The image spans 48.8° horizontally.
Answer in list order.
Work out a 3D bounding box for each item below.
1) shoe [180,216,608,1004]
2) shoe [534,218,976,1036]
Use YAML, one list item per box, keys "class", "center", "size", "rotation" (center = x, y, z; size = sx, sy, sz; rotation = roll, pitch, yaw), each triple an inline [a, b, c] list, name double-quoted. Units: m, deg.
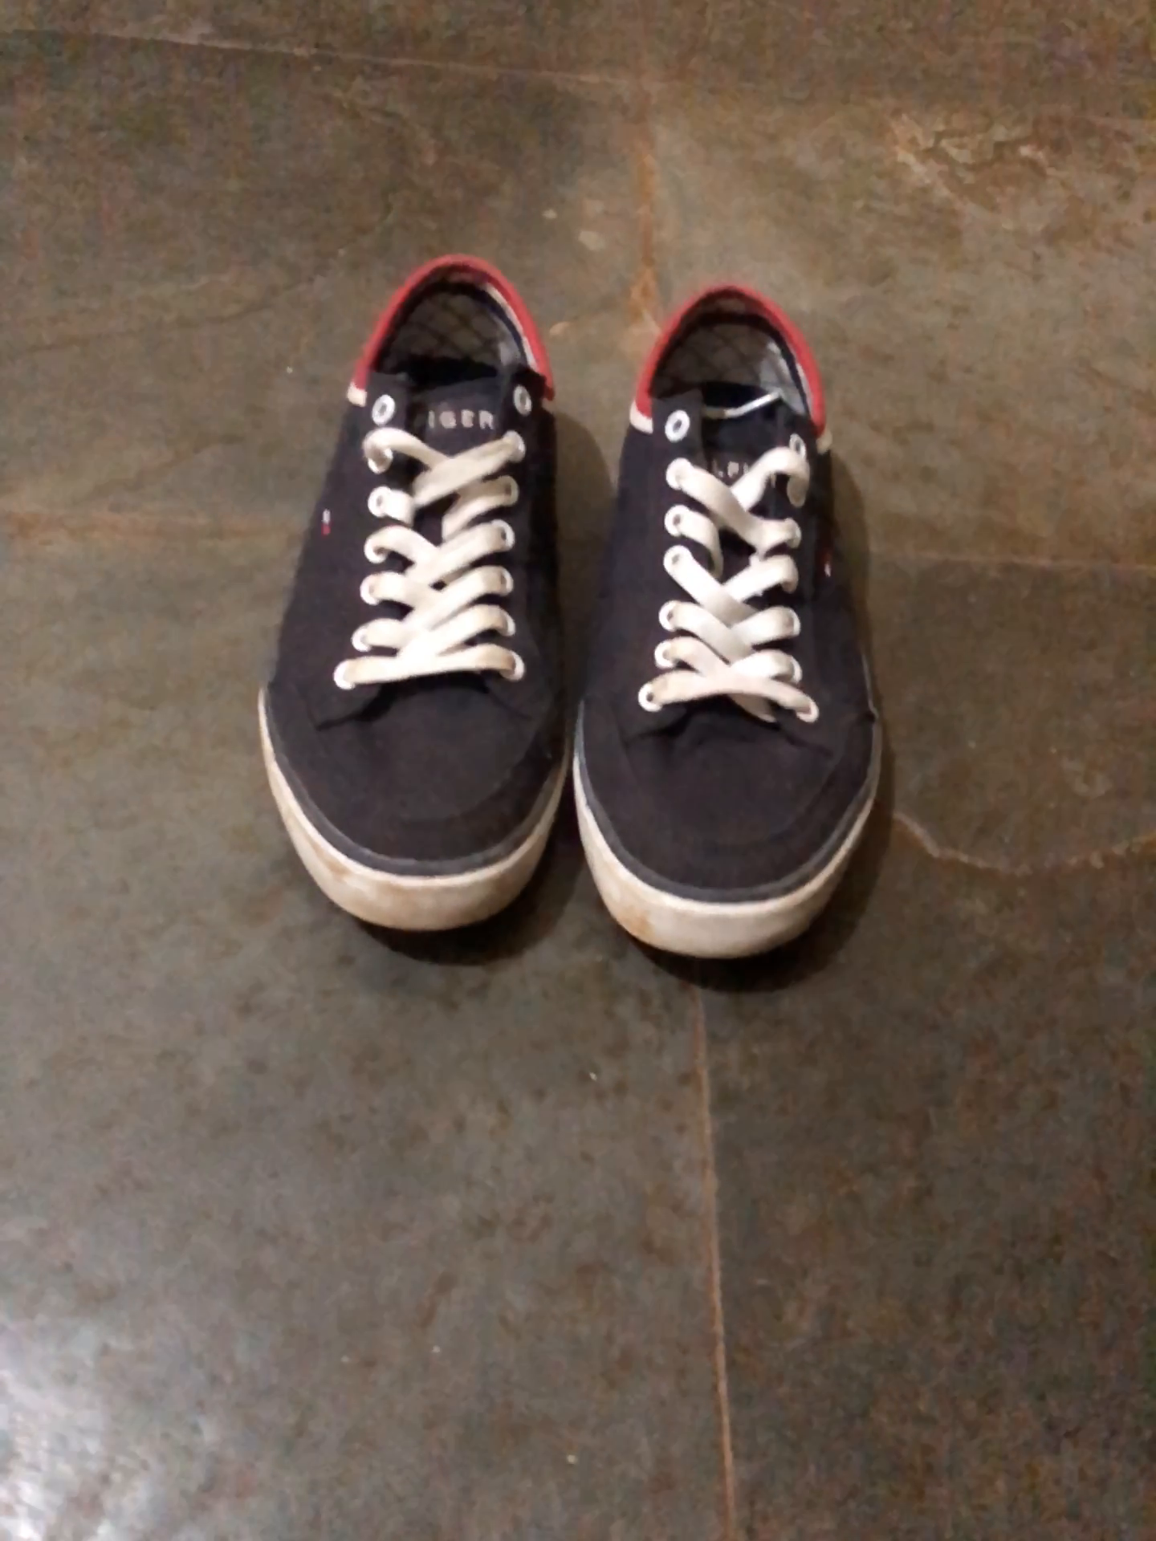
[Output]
- class: "shoe"
  center: [-0.053, -0.072, 0.458]
  size: [0.110, 0.099, 0.292]
  rotation: [2, 52, -4]
- class: "shoe"
  center: [0.053, -0.069, 0.461]
  size: [0.110, 0.099, 0.302]
  rotation: [5, 52, -2]
